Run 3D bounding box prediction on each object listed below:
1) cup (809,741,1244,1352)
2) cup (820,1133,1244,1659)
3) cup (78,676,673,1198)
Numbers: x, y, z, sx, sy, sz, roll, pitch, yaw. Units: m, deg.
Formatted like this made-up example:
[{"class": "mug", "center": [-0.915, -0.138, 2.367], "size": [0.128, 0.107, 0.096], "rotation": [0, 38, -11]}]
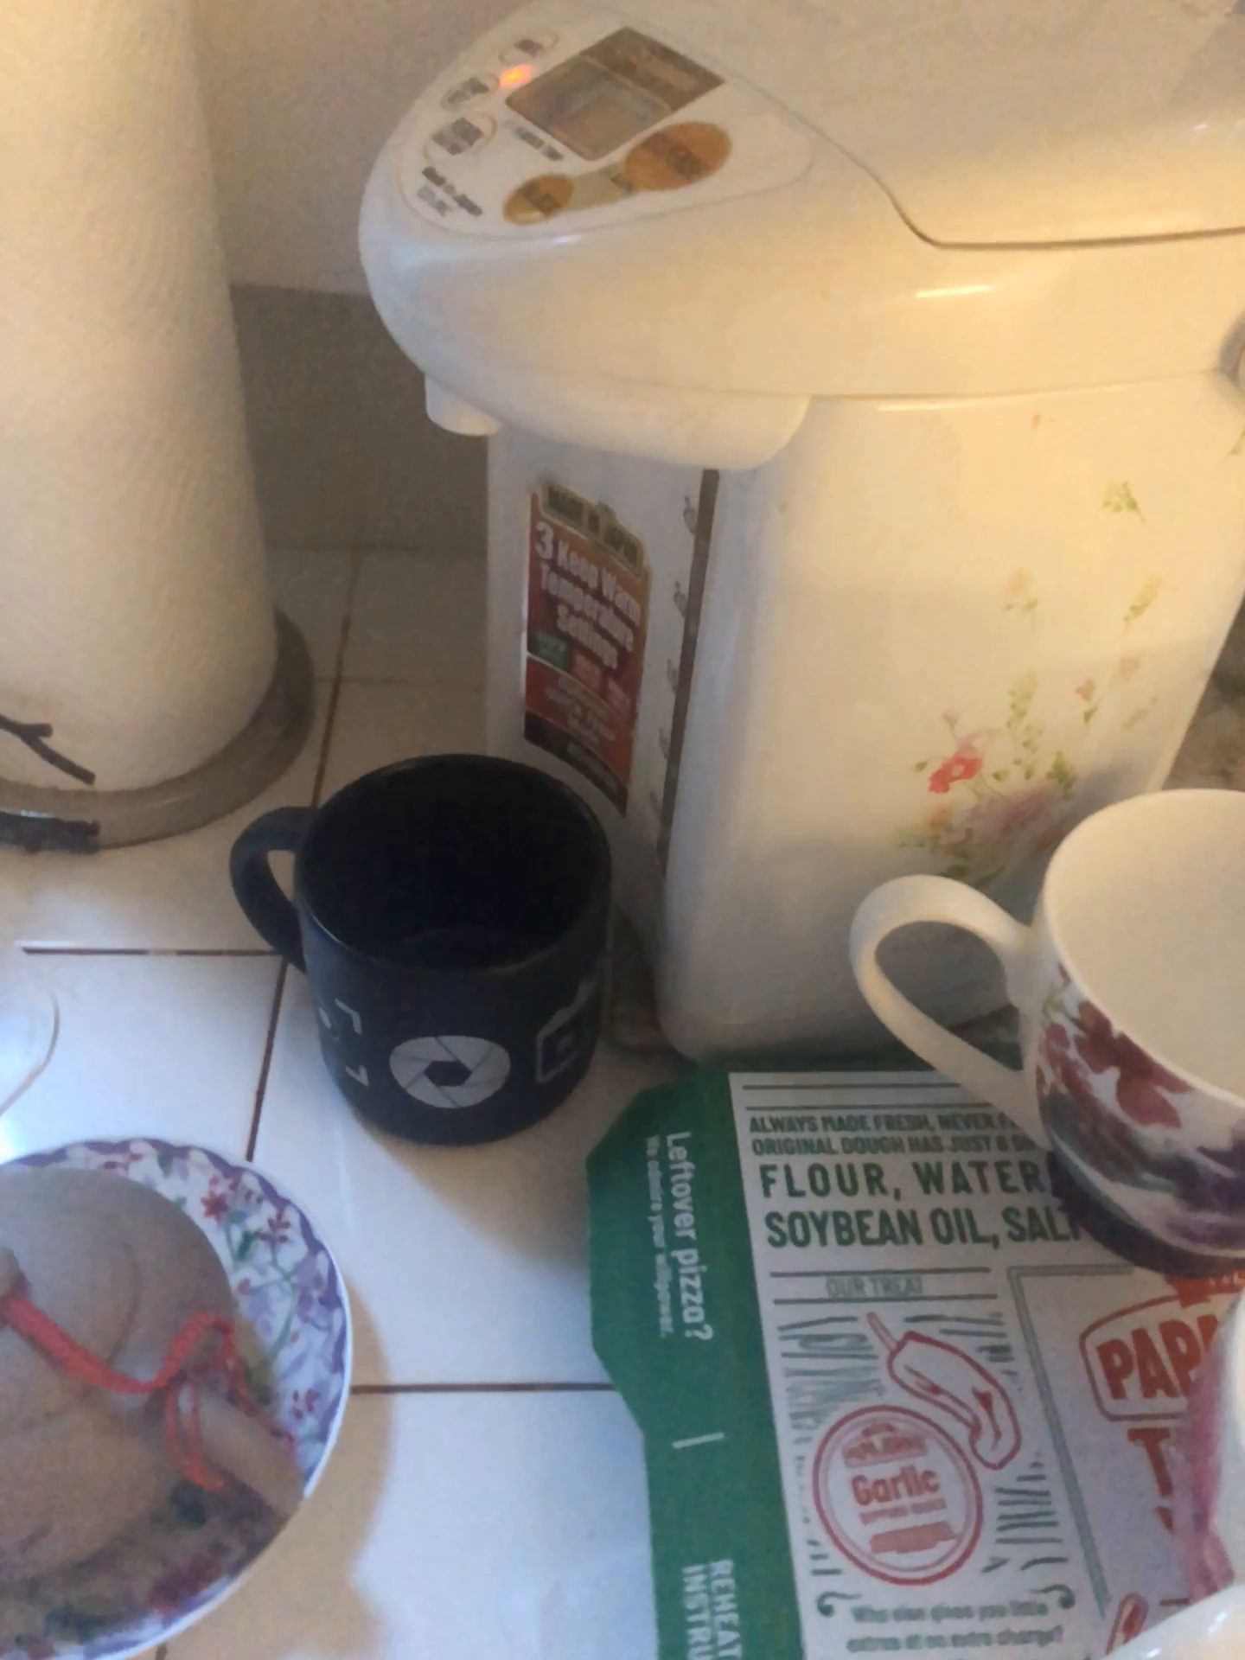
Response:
[{"class": "cup", "center": [0.133, 0.051, 0.341], "size": [0.160, 0.079, 0.101], "rotation": [8, 44, 2]}, {"class": "cup", "center": [0.131, 0.126, 0.245], "size": [0.160, 0.079, 0.101], "rotation": [-3, 45, -9]}, {"class": "cup", "center": [-0.069, 0.029, 0.419], "size": [0.140, 0.079, 0.091], "rotation": [17, 45, 12]}]
